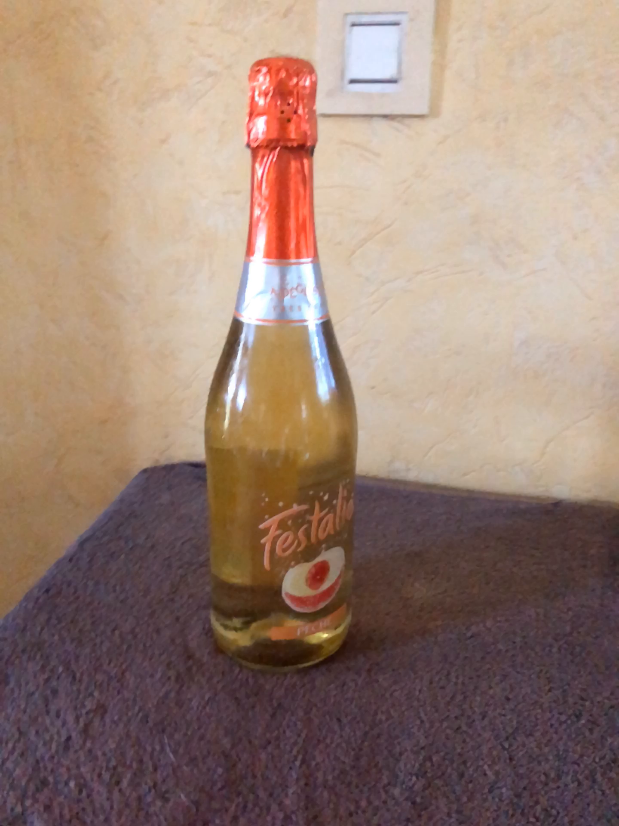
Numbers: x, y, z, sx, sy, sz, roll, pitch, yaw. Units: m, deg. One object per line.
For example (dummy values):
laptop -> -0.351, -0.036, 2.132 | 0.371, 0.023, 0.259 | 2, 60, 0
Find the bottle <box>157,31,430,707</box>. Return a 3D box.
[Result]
bottle -> -0.011, -0.015, 0.358 | 0.090, 0.308, 0.090 | 0, 20, 0
